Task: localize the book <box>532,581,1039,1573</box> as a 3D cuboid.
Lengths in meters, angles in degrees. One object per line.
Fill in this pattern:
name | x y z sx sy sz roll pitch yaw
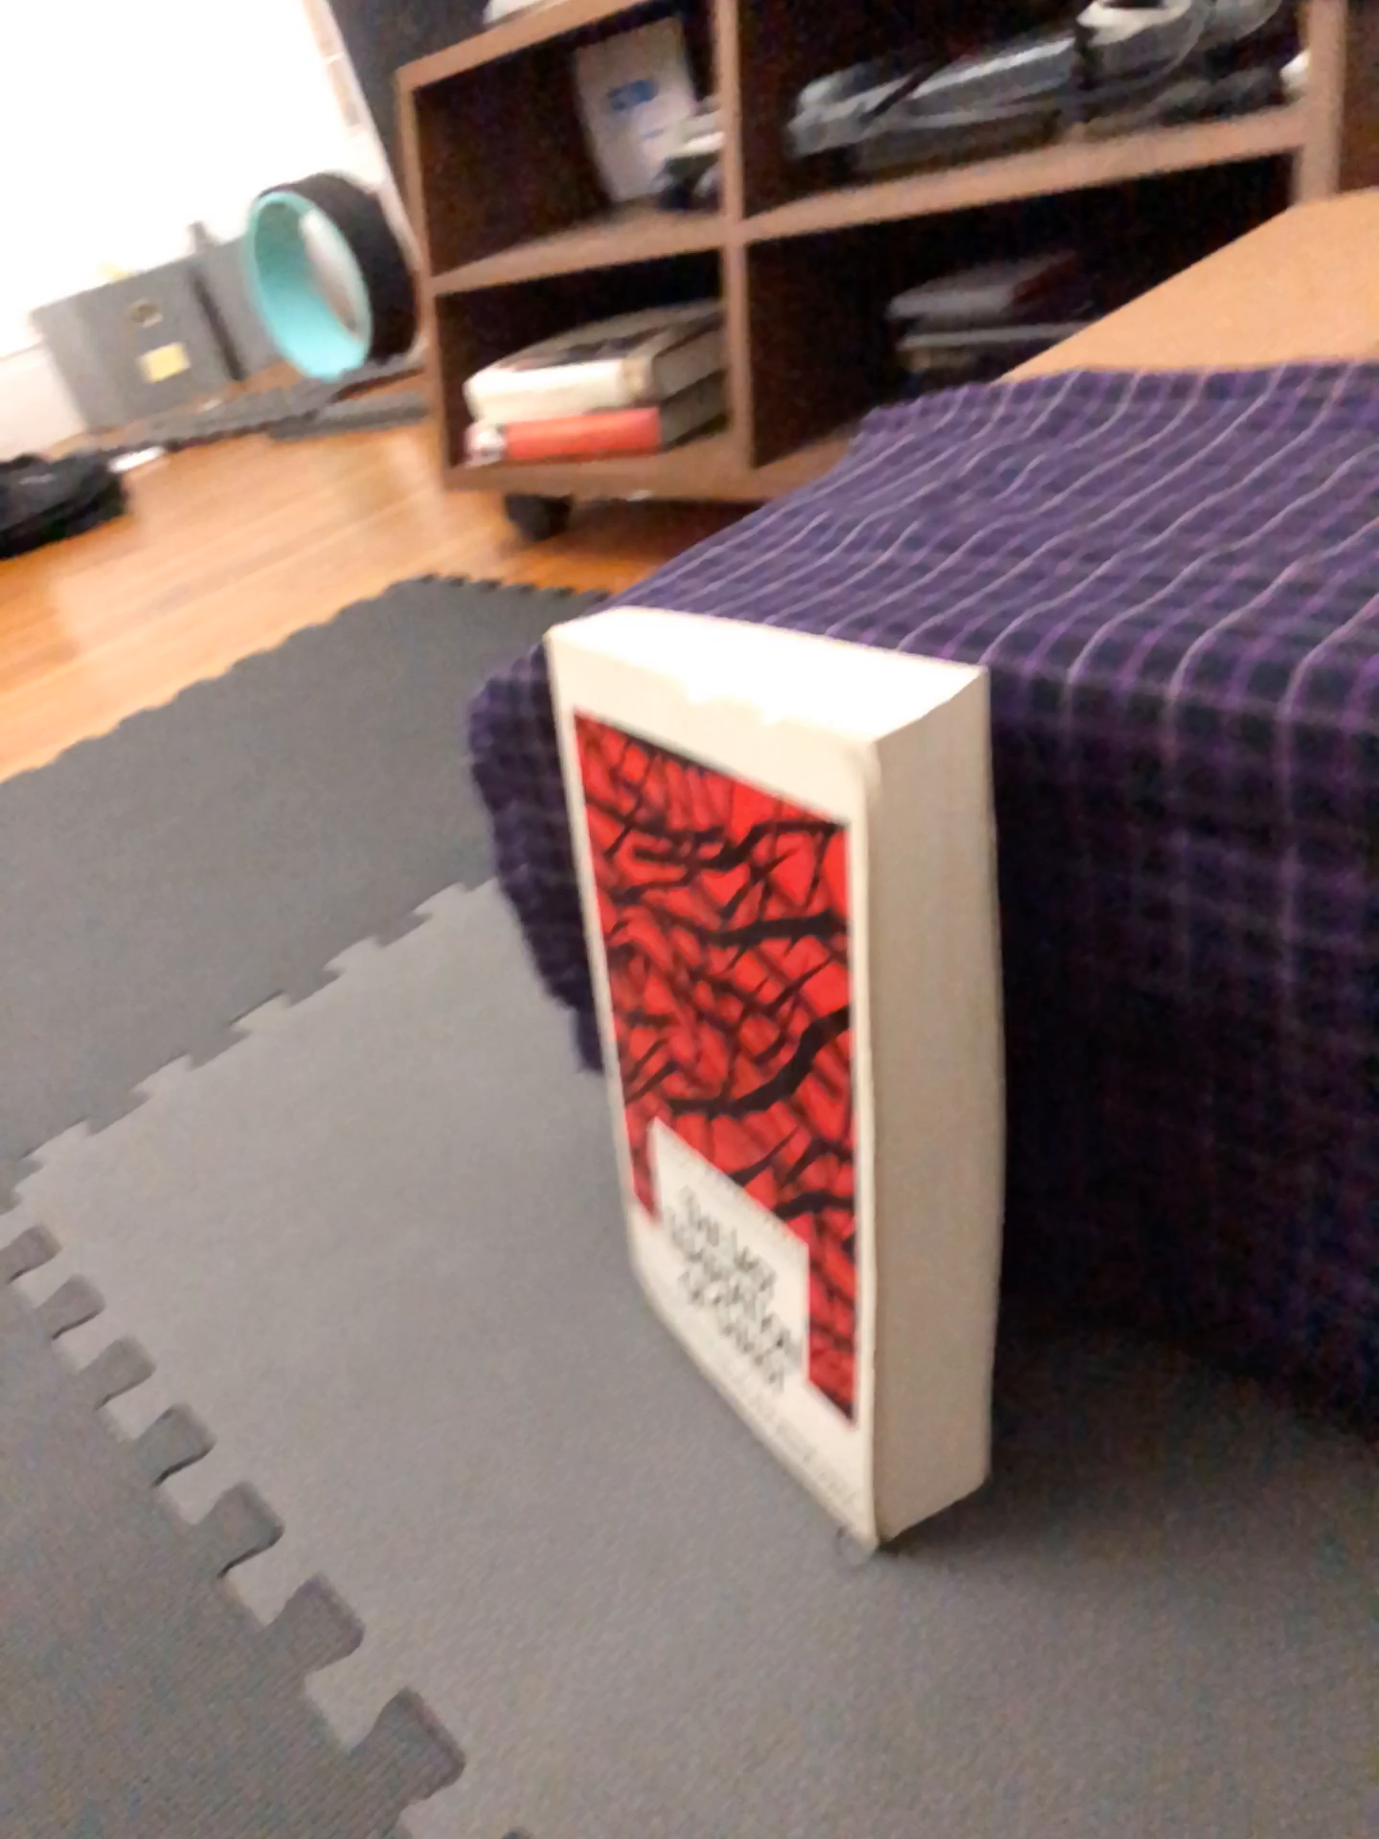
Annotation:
book | 0.021 0.029 0.396 0.050 0.209 0.151 -15 22 -17
